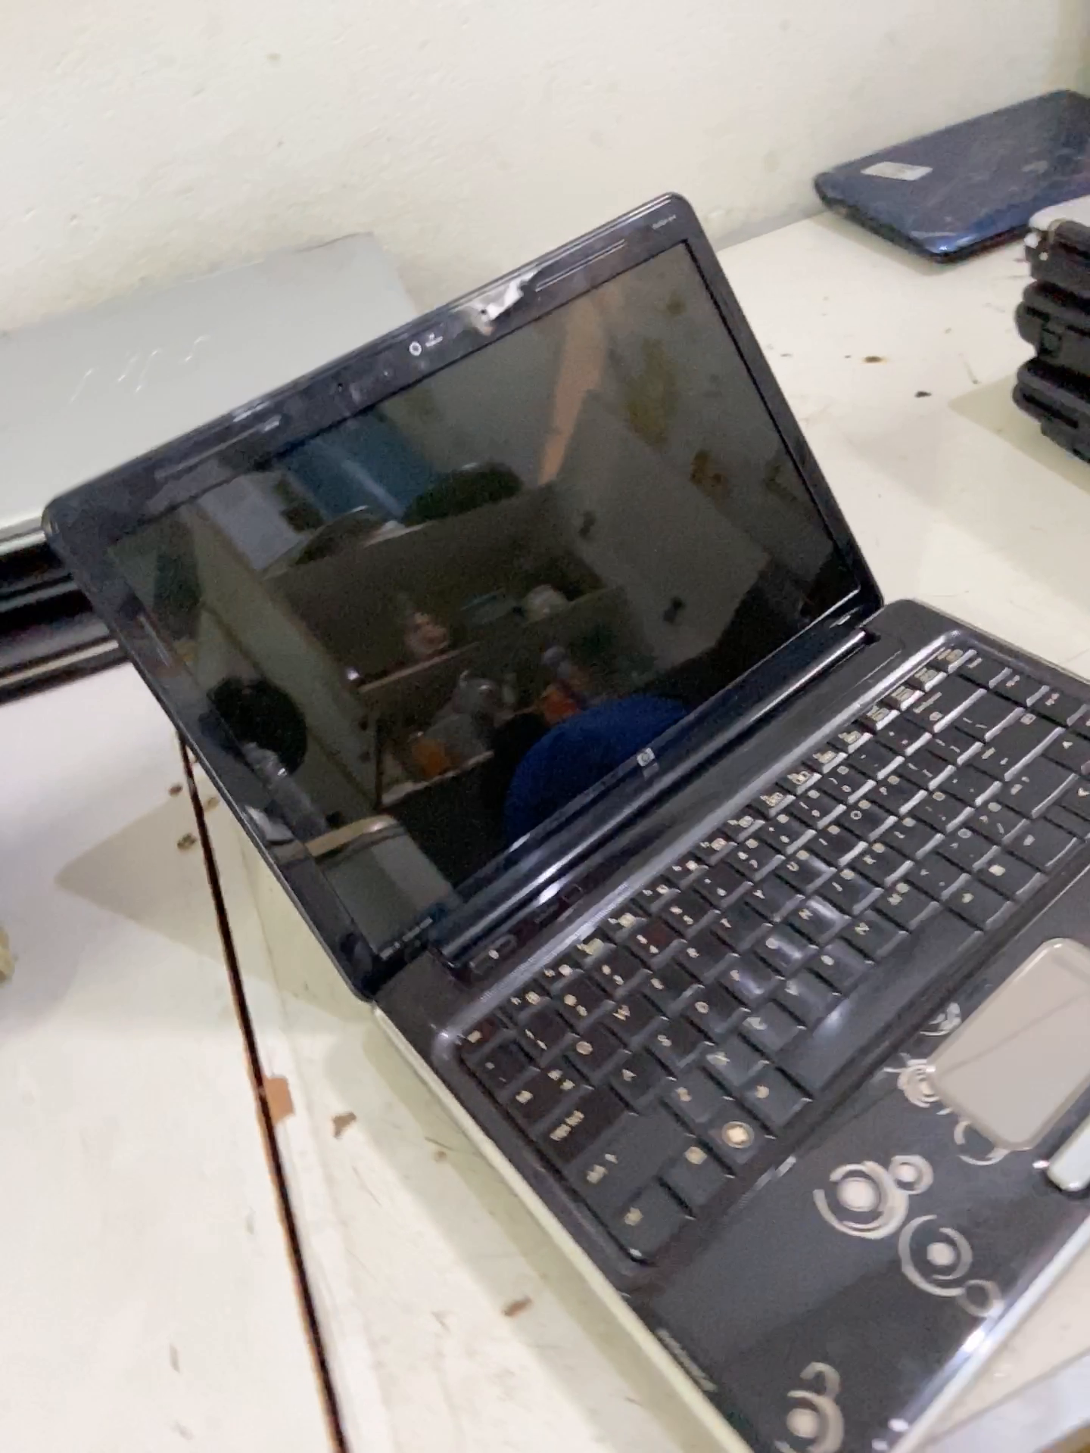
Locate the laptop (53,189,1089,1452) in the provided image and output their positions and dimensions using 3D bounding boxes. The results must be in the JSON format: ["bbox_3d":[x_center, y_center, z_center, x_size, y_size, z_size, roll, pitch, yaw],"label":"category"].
[{"bbox_3d":[0.071,-0.020,0.418,0.331,0.175,0.373,-35,47,-21],"label":"laptop"}]
